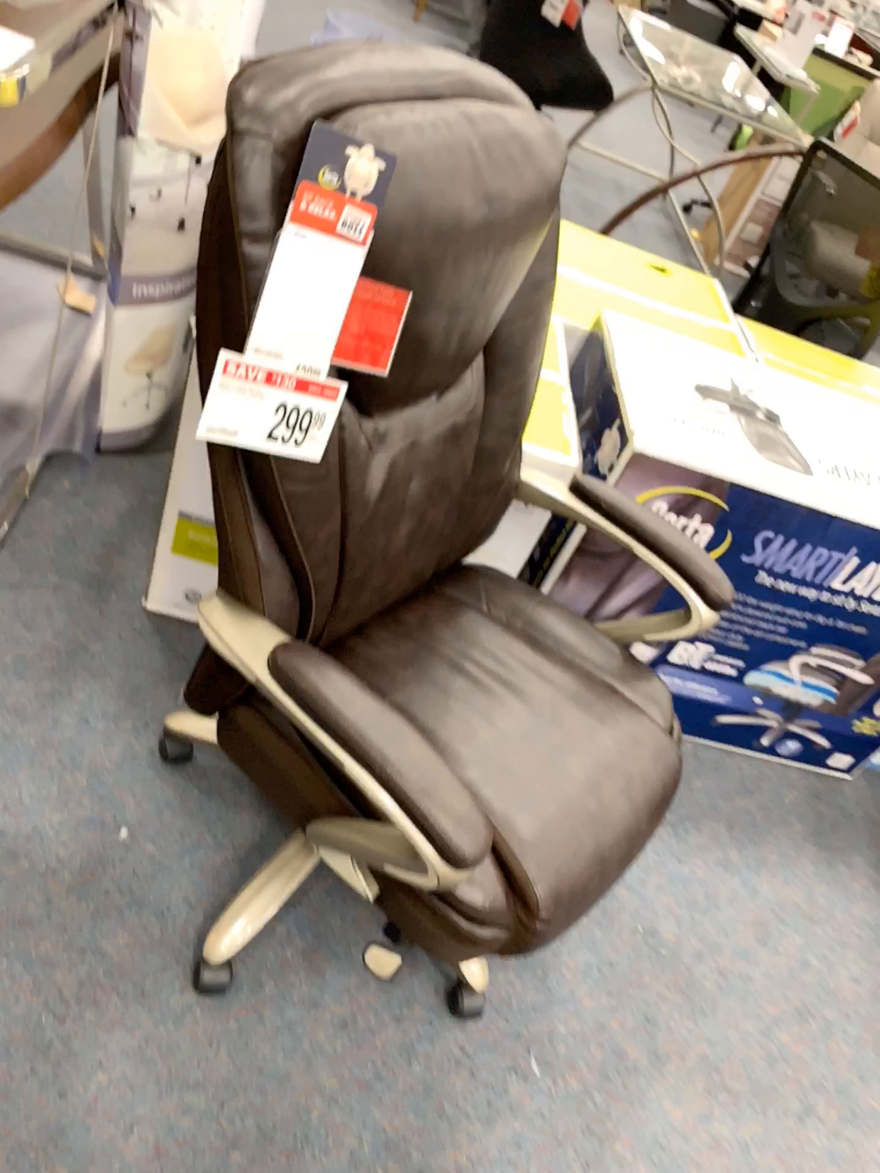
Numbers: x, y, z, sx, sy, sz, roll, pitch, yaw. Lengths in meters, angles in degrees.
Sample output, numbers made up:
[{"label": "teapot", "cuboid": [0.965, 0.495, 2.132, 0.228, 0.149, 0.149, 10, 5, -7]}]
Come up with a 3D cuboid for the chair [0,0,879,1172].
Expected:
[{"label": "chair", "cuboid": [0.026, 0.020, 1.209, 0.845, 1.104, 0.784, 45, 44, 19]}]

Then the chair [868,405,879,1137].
[{"label": "chair", "cuboid": [1.515, 0.381, 1.677, 0.701, 0.995, 0.758, 18, 41, -9]}]
